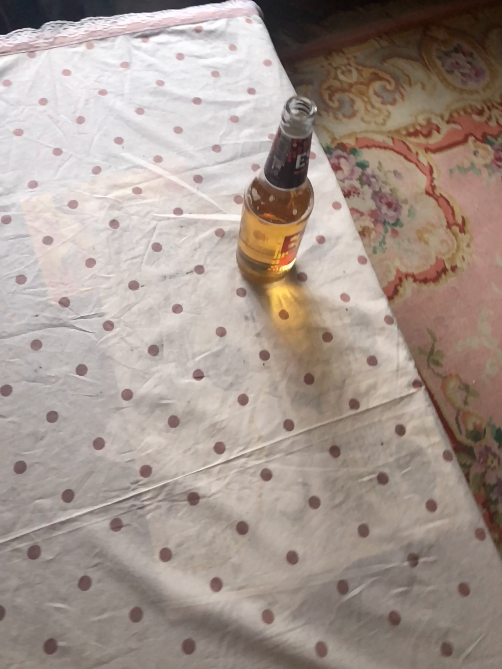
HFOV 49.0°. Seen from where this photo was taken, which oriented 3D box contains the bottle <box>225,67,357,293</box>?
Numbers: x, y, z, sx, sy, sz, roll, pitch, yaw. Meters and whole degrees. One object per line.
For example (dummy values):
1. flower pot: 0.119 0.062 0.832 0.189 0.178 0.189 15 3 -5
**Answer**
1. bottle: 0.028 -0.130 0.523 0.080 0.209 0.080 1 69 -4
